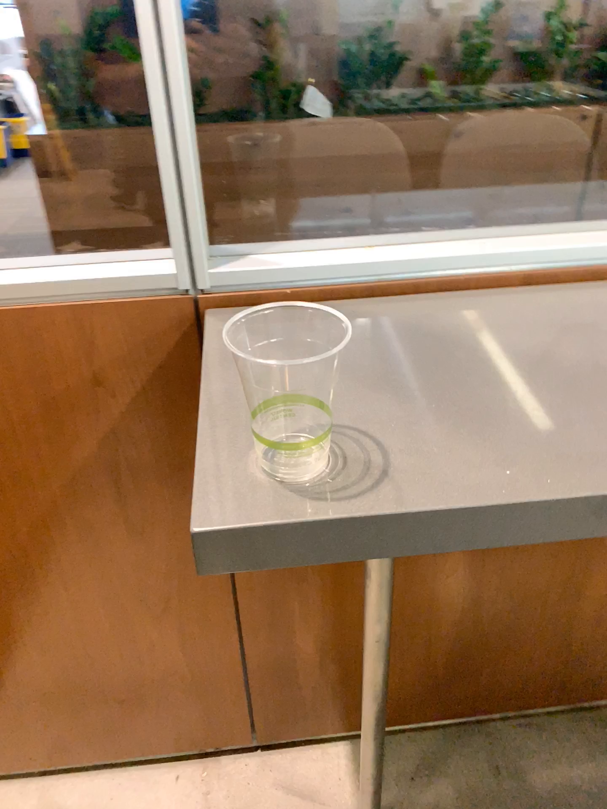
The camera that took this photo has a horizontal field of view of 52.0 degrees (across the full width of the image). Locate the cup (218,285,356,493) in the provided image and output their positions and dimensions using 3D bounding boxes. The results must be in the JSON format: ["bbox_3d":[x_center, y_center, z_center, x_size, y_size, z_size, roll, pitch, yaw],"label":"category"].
[{"bbox_3d":[-0.010,-0.012,0.481,0.090,0.129,0.091,-1,33,1],"label":"cup"}]
